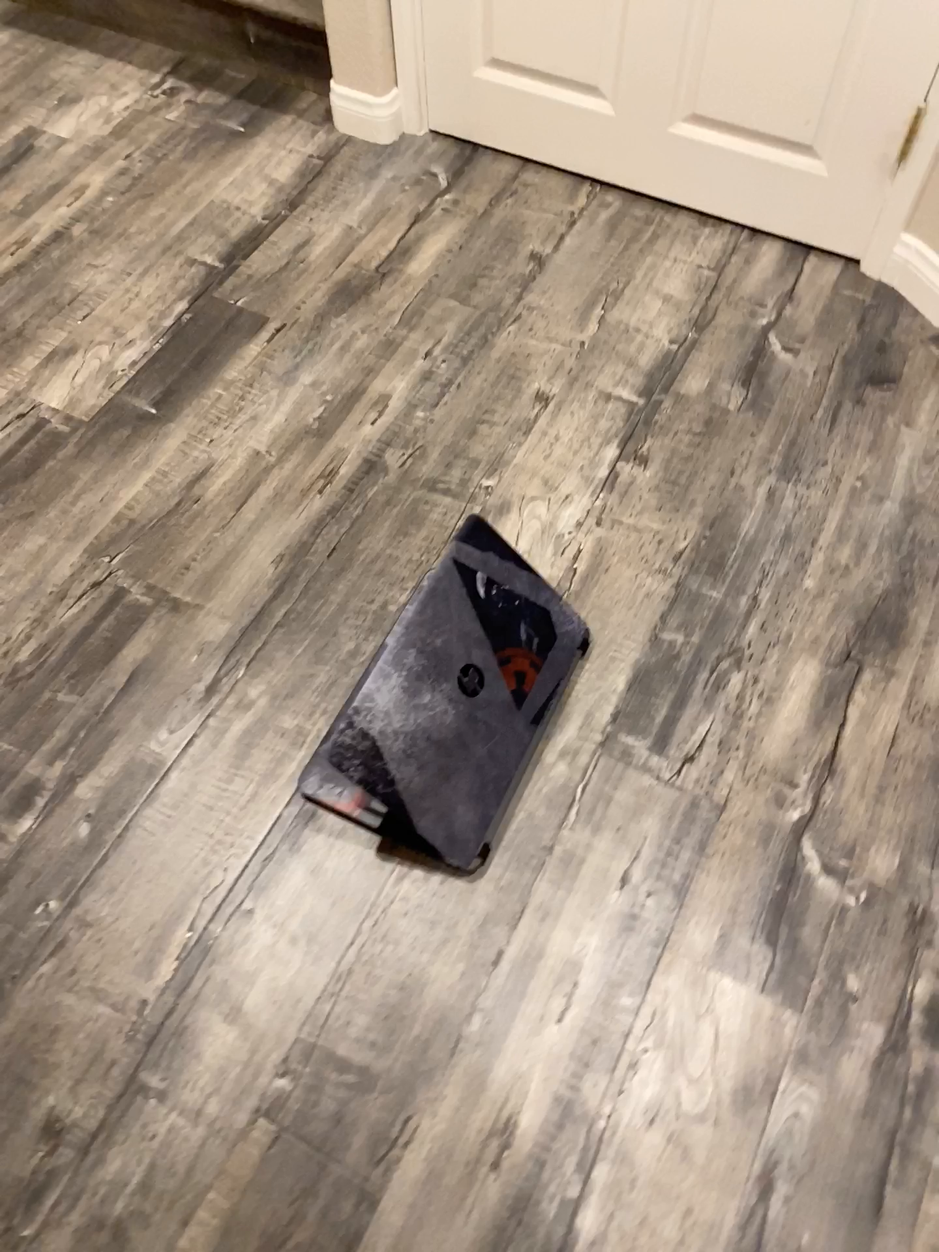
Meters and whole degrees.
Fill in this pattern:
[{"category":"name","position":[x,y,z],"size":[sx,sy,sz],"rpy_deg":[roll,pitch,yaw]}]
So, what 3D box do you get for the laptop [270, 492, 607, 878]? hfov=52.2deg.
[{"category":"laptop","position":[-0.025,0.064,1.189],"size":[0.250,0.177,0.375],"rpy_deg":[22,61,14]}]
